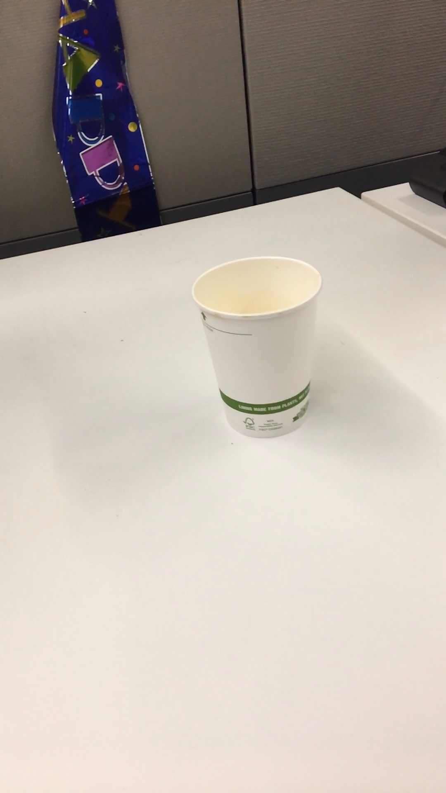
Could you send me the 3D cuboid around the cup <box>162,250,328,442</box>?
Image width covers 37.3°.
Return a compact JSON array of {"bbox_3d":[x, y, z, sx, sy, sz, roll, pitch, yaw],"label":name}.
[{"bbox_3d":[0.021,-0.037,0.454,0.090,0.100,0.080,4,36,16],"label":"cup"}]
